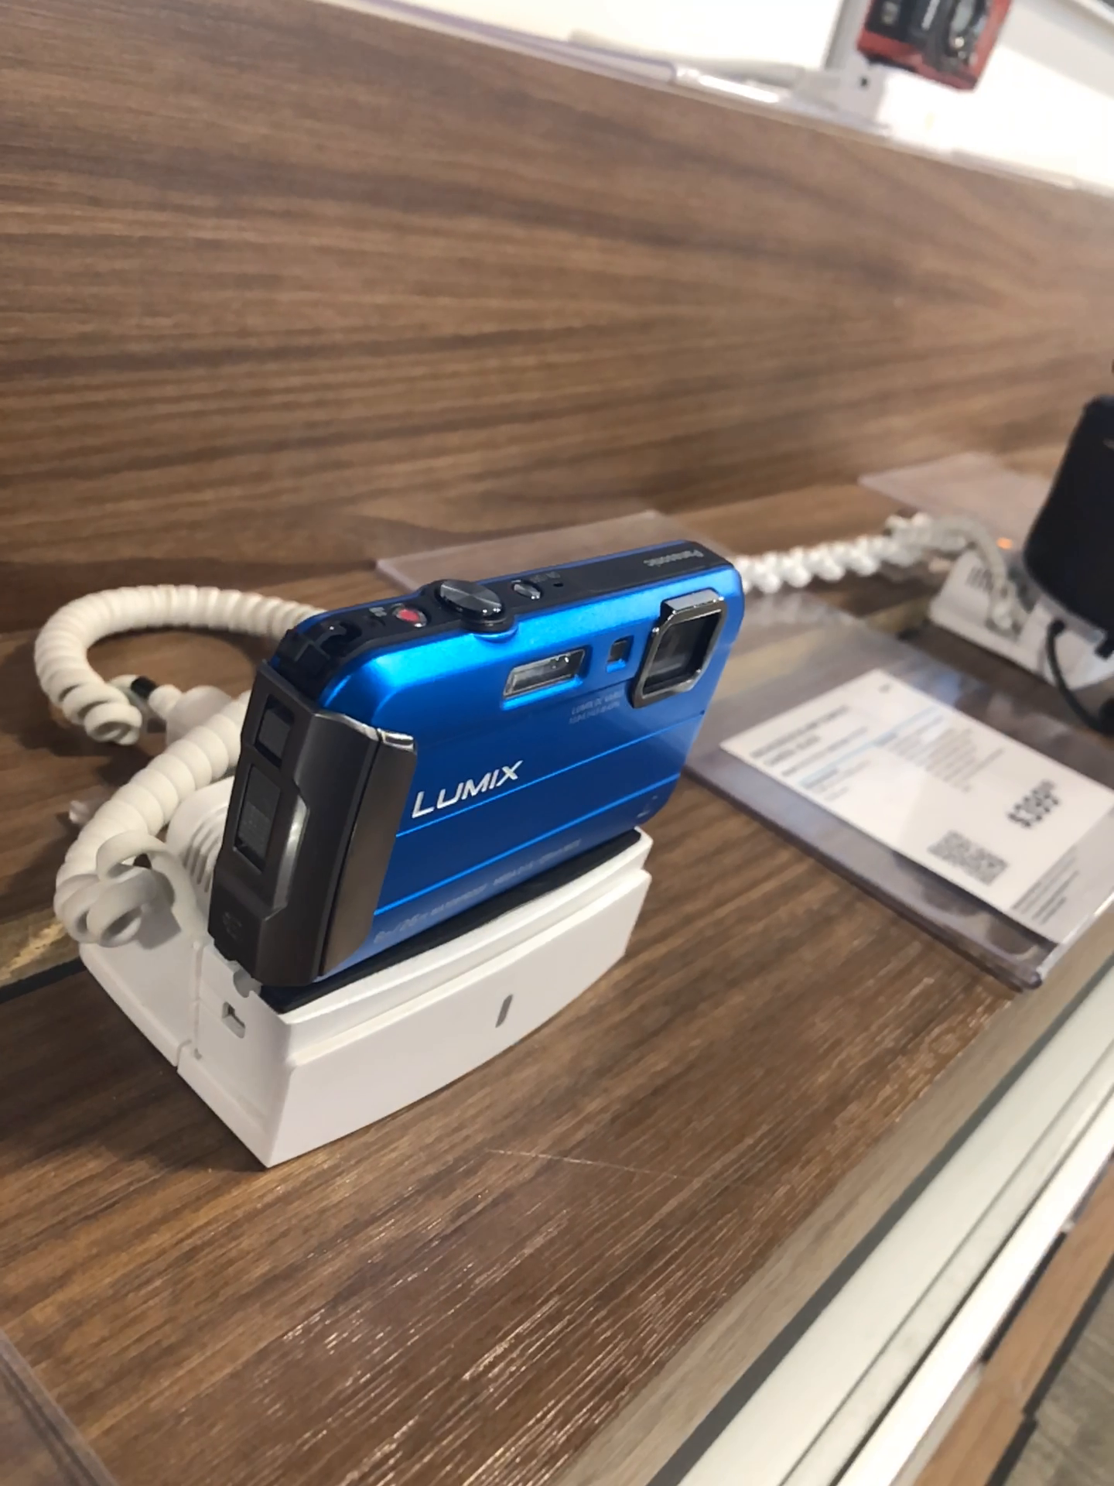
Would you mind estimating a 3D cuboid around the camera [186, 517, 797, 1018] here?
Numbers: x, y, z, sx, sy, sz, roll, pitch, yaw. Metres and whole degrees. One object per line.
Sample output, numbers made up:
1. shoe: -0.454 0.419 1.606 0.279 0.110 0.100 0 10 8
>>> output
1. camera: -0.006 -0.002 0.197 0.023 0.051 0.101 36 34 26
